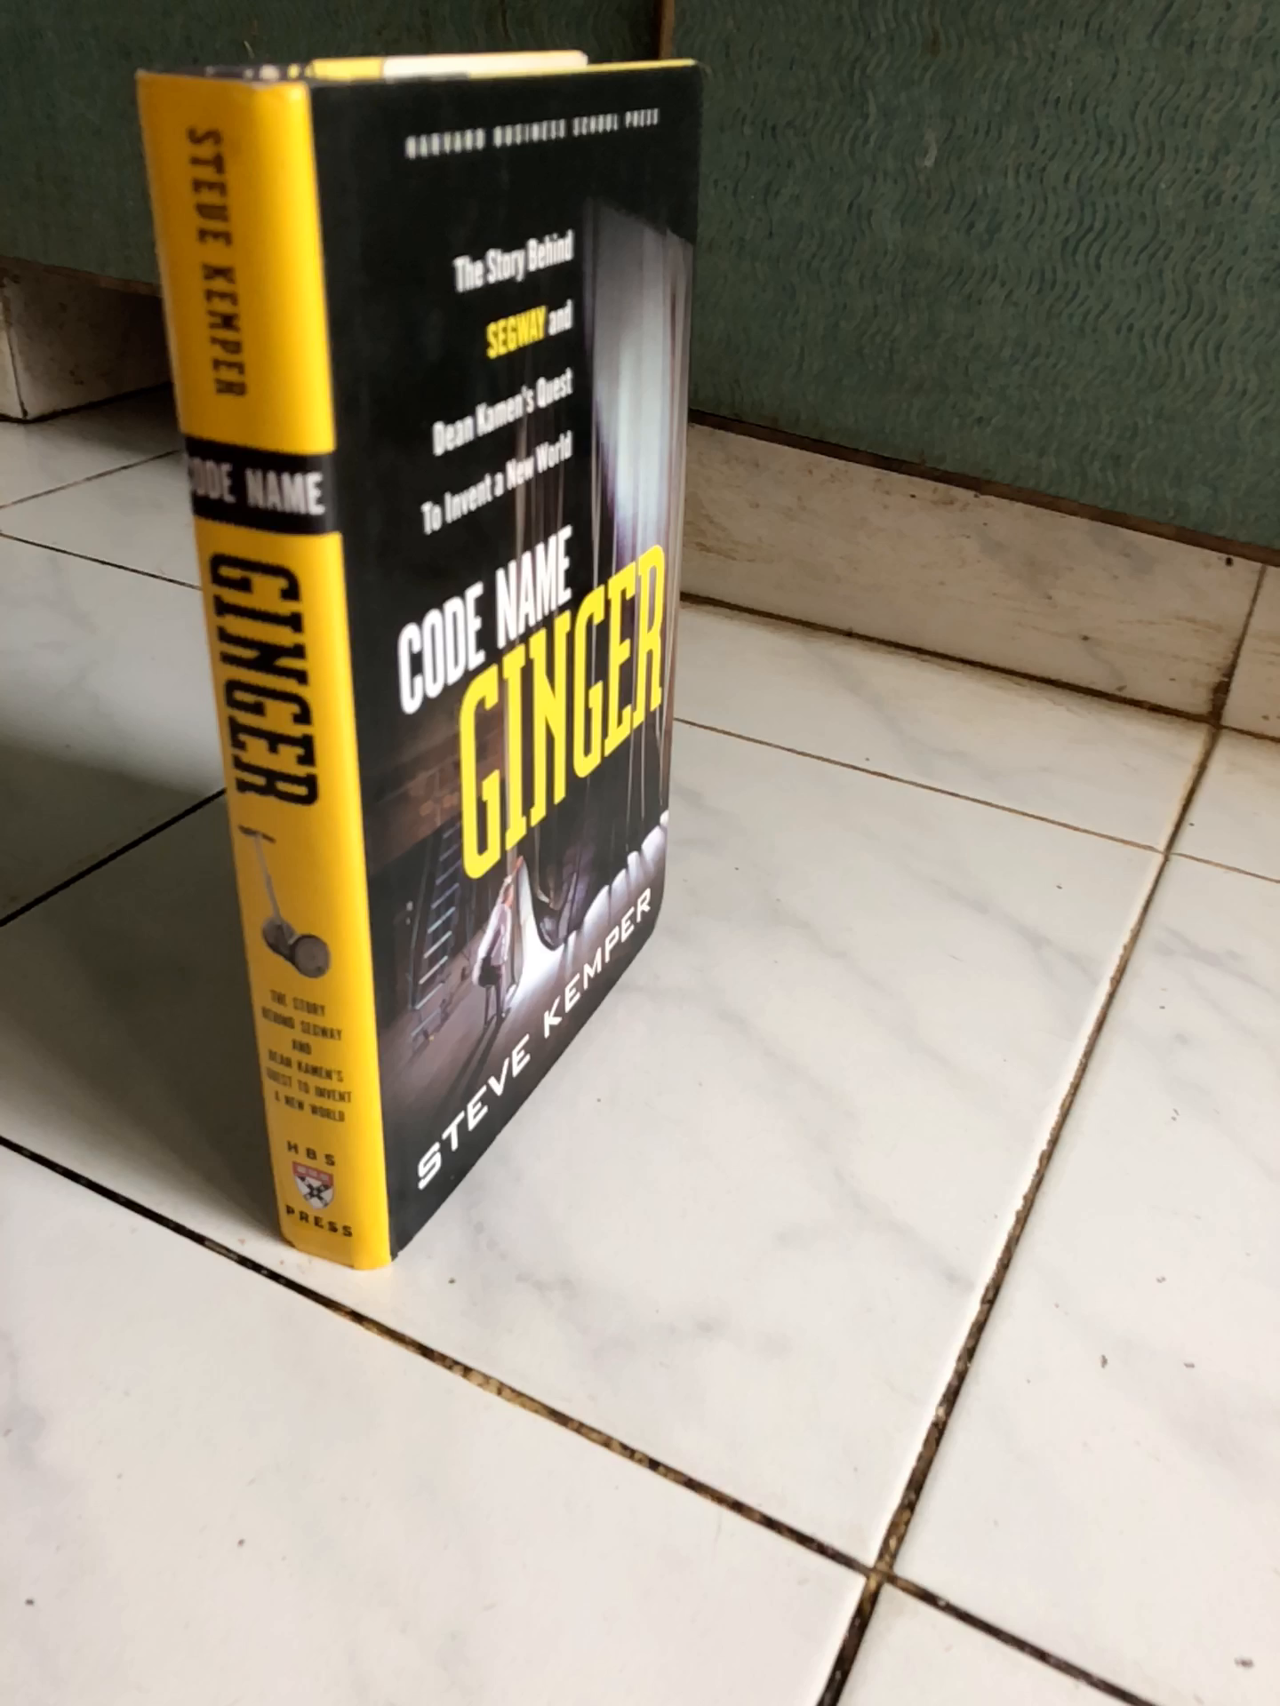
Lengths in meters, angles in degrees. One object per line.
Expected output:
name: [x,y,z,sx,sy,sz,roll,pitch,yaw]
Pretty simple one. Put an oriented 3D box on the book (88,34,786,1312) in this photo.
book: [-0.026,-0.051,0.329,0.040,0.239,0.191,14,33,19]
